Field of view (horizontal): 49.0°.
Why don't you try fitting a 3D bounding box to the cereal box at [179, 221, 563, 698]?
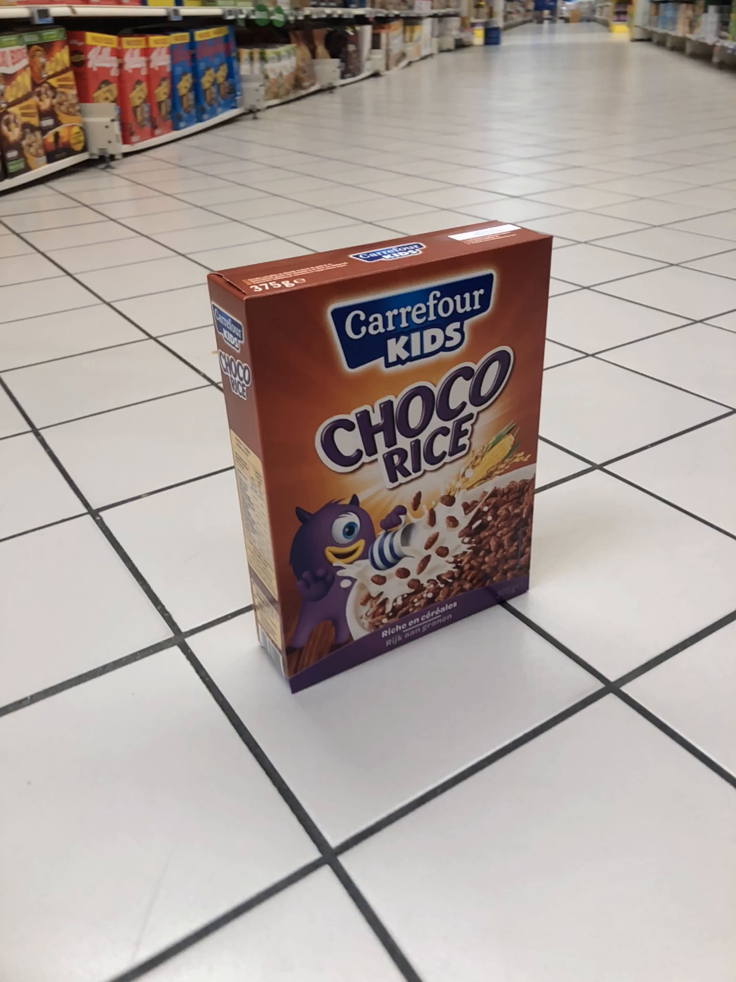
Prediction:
[{"bbox_3d":[0.010,-0.022,0.496,0.201,0.239,0.070,-18,33,-25],"label":"cereal box"}]
